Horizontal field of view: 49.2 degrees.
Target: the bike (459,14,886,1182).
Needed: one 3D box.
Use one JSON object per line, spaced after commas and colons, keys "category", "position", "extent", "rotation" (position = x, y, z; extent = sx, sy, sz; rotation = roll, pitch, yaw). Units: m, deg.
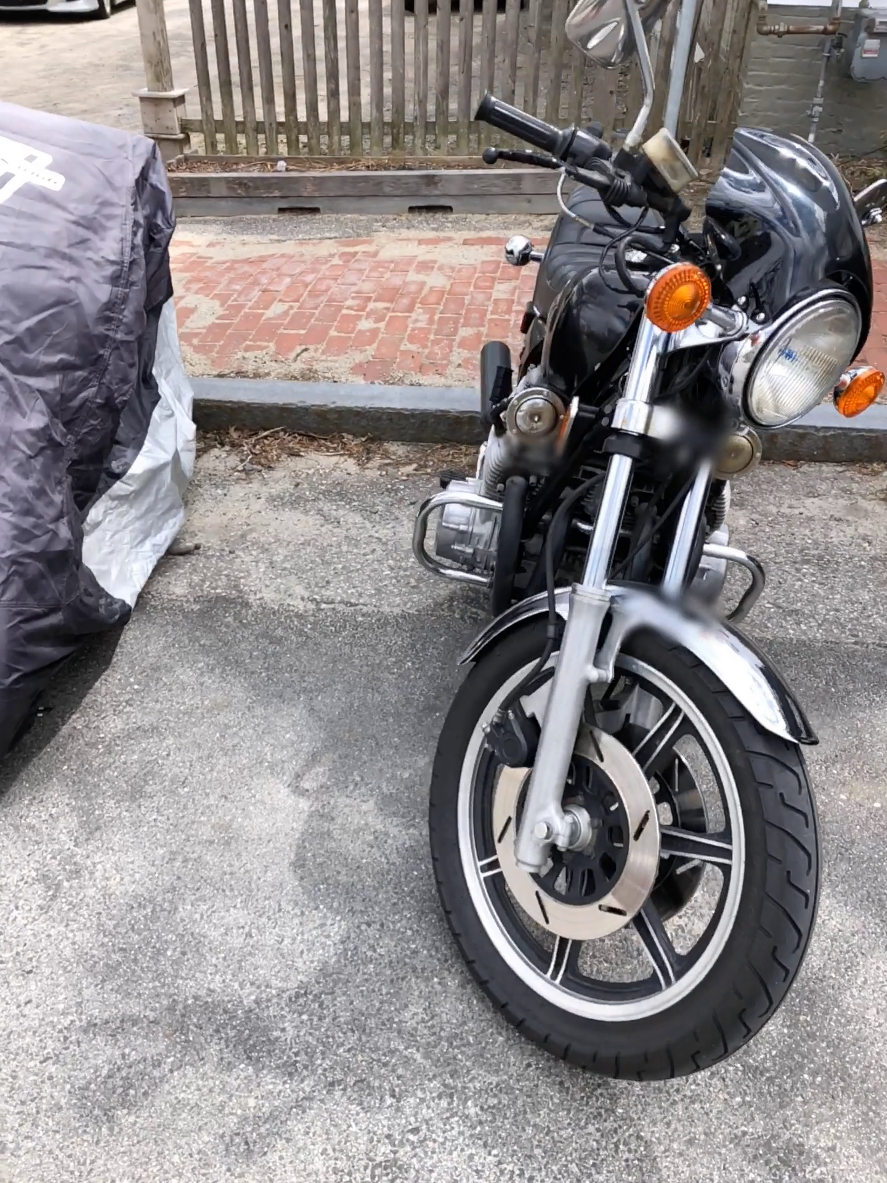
{"category": "bike", "position": [0.414, -0.262, 1.789], "extent": [0.708, 1.157, 1.981], "rotation": [1, 36, 0]}
